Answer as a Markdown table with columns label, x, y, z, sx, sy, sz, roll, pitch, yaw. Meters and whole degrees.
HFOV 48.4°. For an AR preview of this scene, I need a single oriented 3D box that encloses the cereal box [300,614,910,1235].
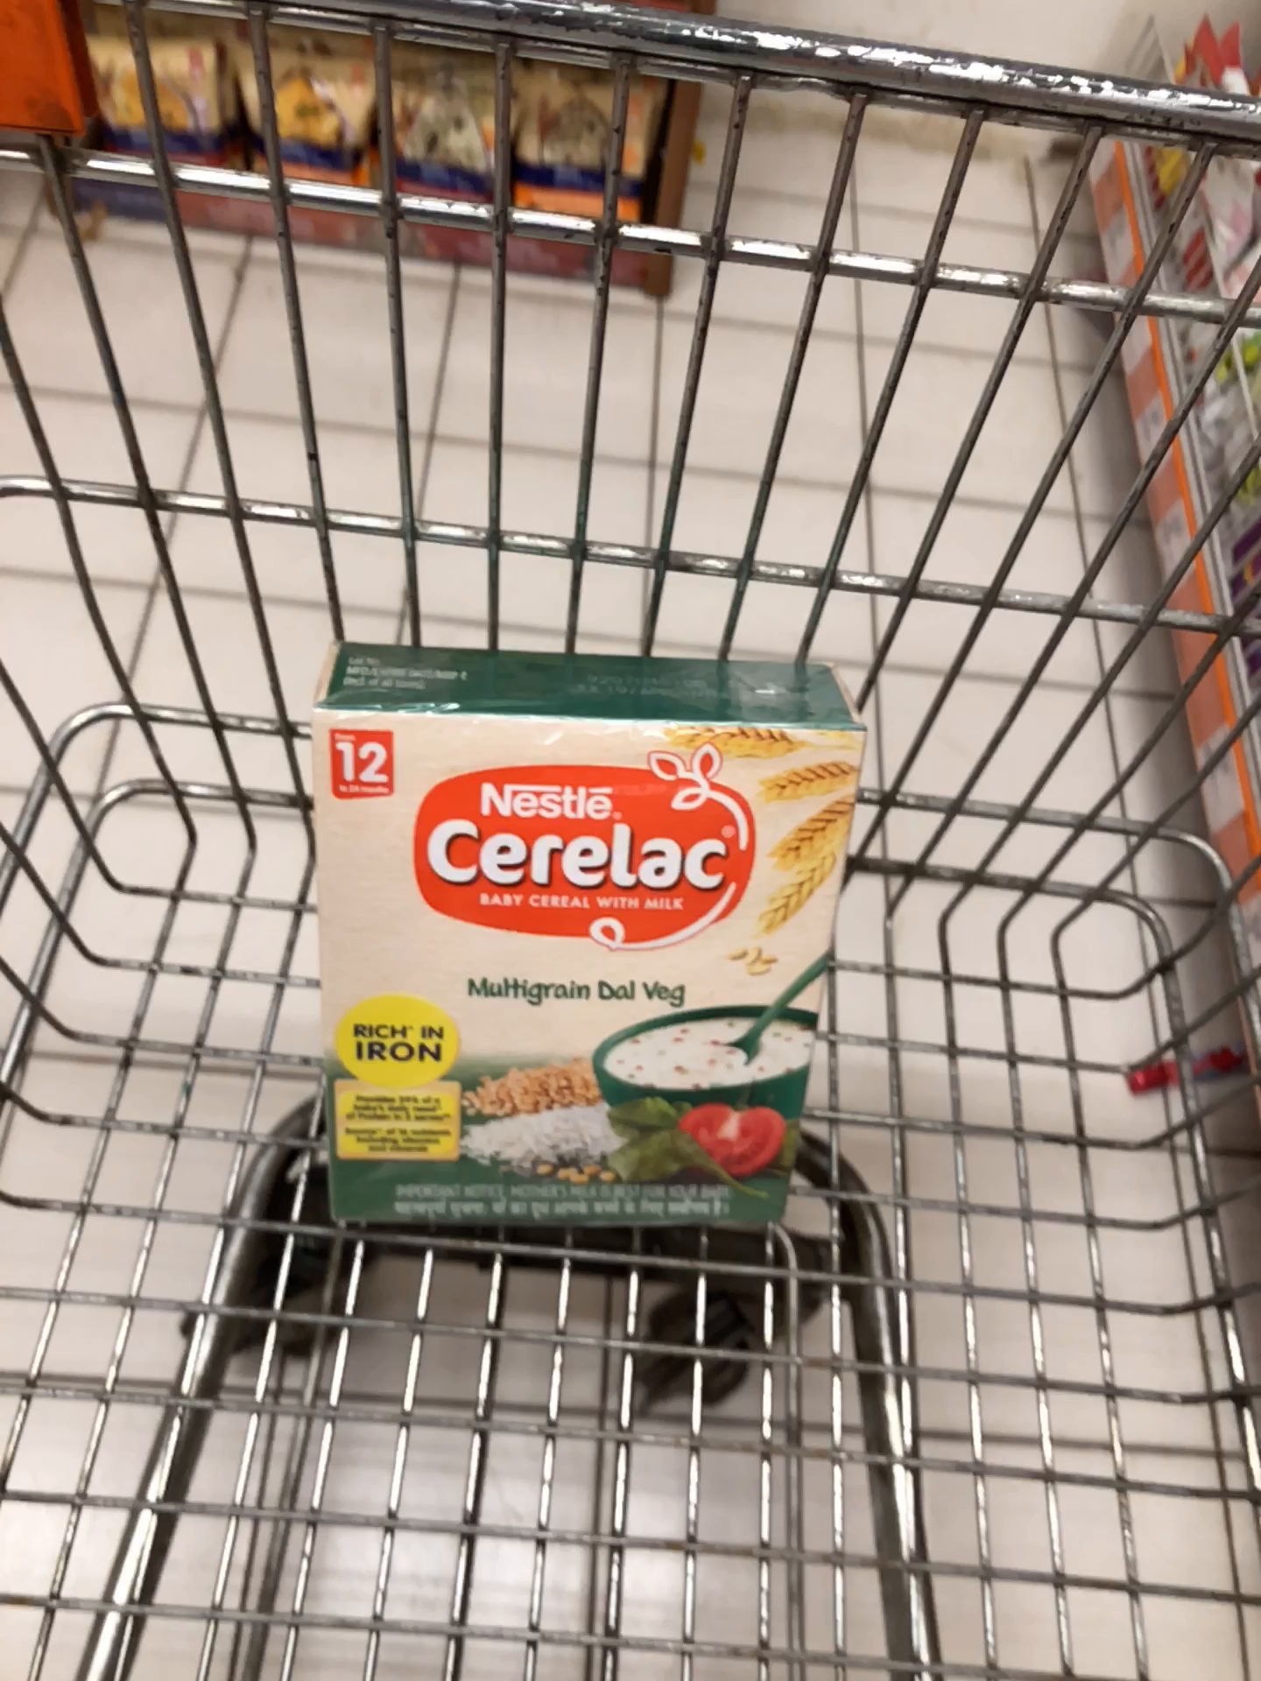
| label | x | y | z | sx | sy | sz | roll | pitch | yaw |
| --- | --- | --- | --- | --- | --- | --- | --- | --- | --- |
| cereal box | -0.015 | 0.033 | 0.433 | 0.160 | 0.189 | 0.050 | 2 | 28 | -6 |
